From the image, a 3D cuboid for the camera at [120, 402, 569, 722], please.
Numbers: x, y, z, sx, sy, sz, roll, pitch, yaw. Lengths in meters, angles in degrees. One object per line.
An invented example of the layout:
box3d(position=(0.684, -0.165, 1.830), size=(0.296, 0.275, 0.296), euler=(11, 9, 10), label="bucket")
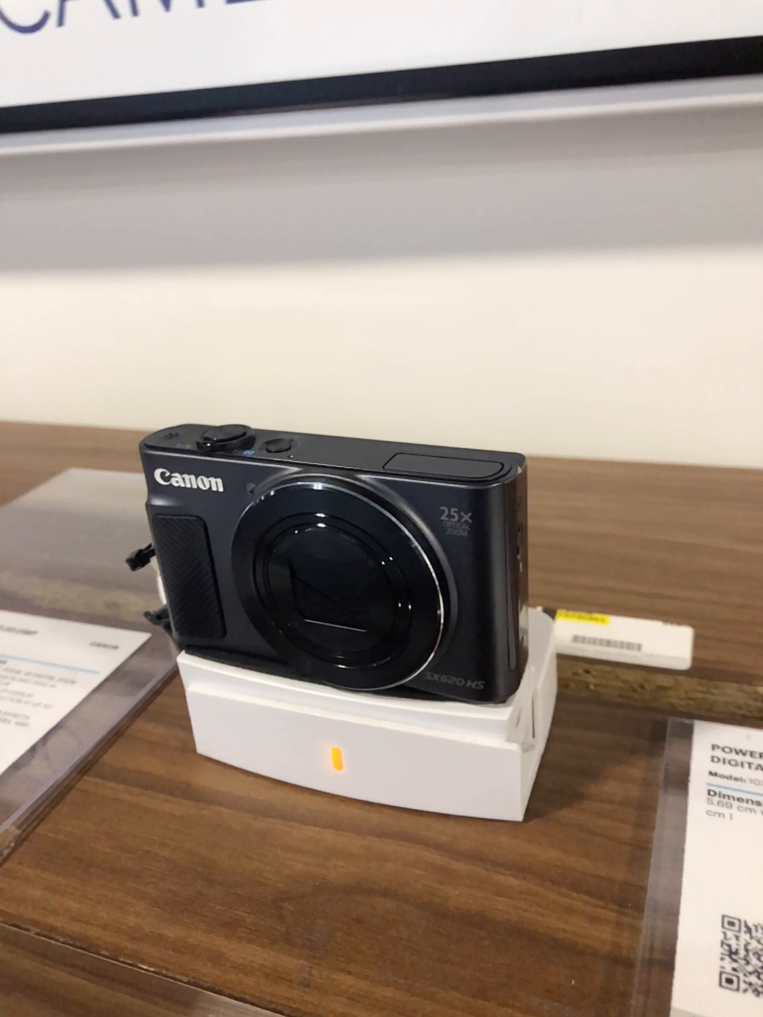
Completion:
box3d(position=(-0.008, 0.009, 0.208), size=(0.100, 0.060, 0.030), euler=(5, 24, 21), label="camera")
